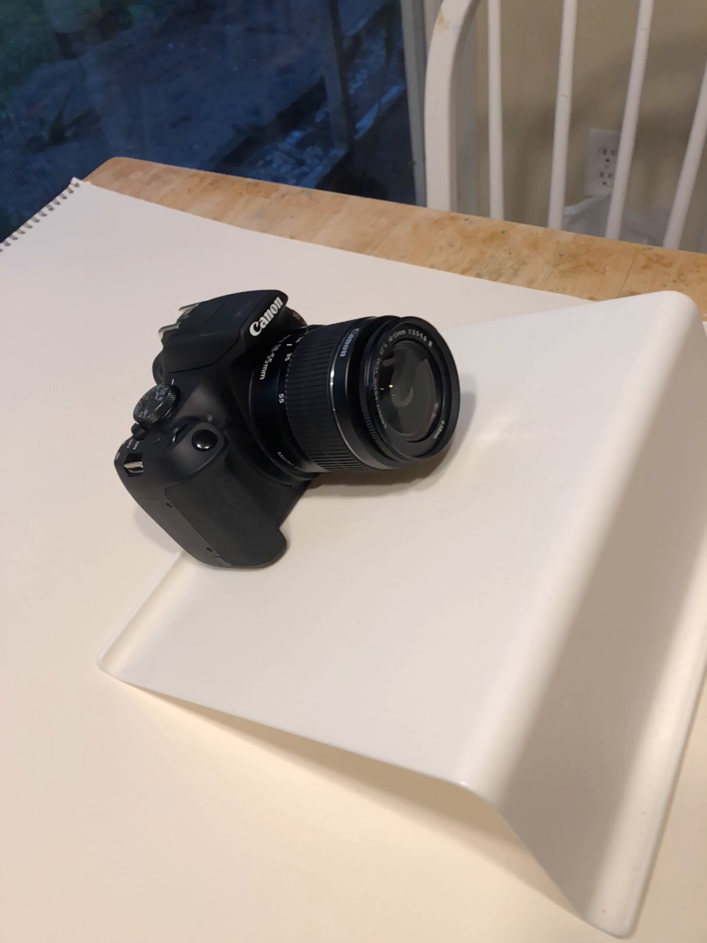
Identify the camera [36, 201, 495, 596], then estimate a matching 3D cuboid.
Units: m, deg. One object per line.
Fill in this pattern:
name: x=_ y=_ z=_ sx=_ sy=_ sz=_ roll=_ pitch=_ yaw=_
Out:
camera: x=-0.038 y=-0.029 z=0.366 sx=0.140 sy=0.104 sz=0.126 roll=-4 pitch=41 yaw=44
